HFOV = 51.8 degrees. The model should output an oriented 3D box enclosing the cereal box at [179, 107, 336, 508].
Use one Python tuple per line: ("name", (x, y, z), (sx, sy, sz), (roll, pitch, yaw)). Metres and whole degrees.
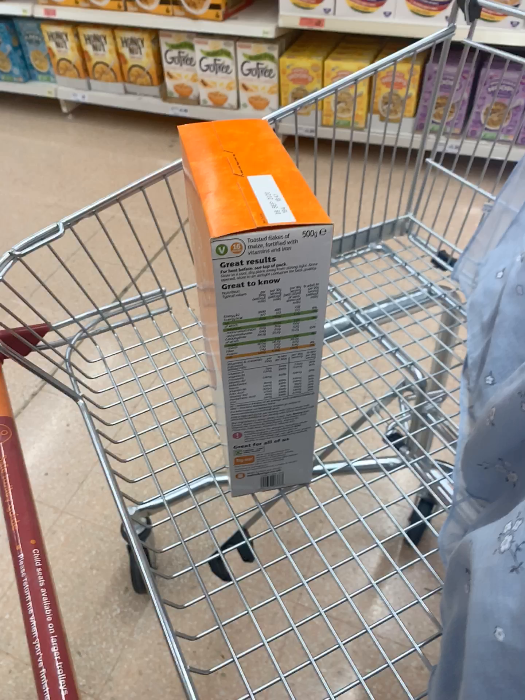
("cereal box", (-0.014, -0.034, 0.514), (0.080, 0.307, 0.212), (-8, 42, -9))
